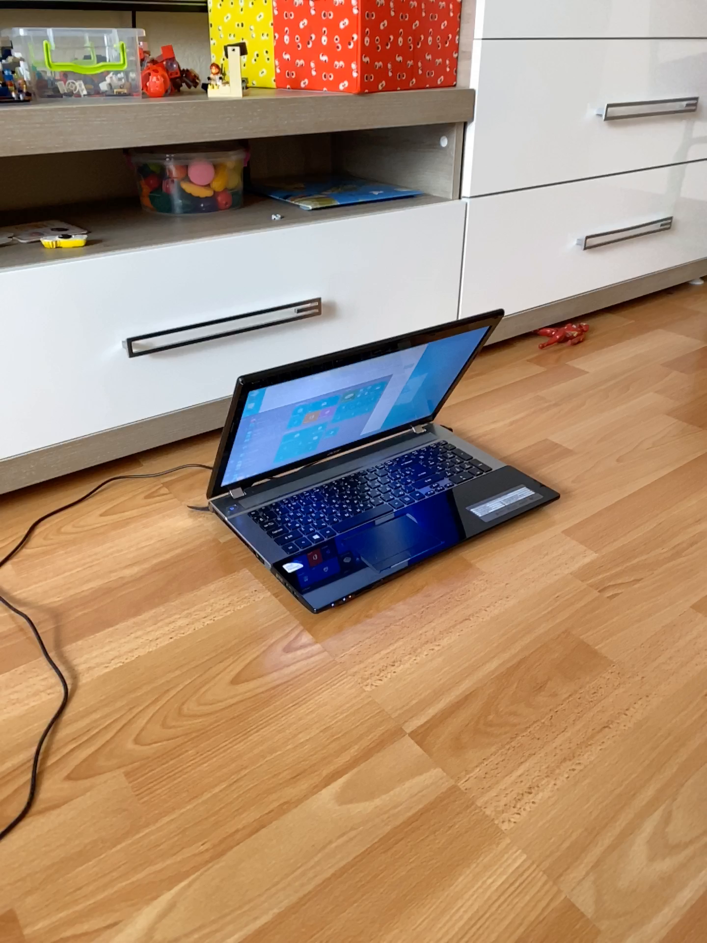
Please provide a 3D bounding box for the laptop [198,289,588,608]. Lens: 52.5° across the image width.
[{"bbox_3d":[0.049,-0.063,0.951,0.412,0.233,0.269,-19,35,-30],"label":"laptop"}]
